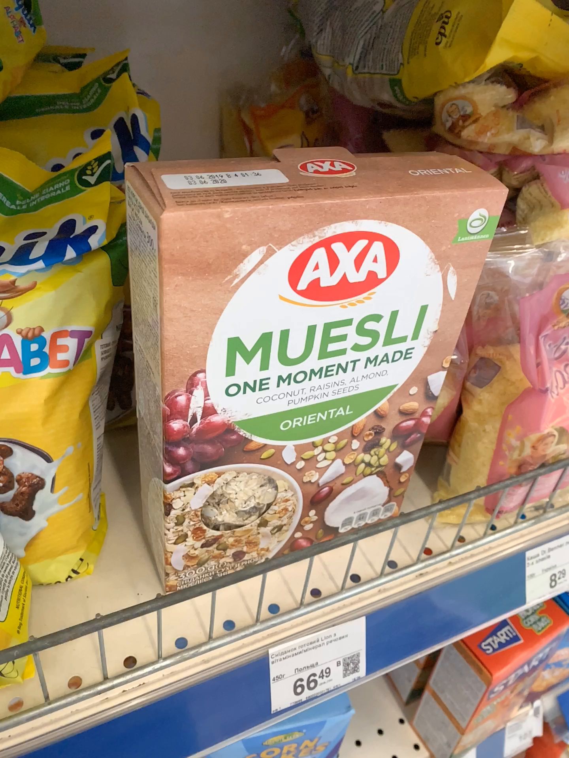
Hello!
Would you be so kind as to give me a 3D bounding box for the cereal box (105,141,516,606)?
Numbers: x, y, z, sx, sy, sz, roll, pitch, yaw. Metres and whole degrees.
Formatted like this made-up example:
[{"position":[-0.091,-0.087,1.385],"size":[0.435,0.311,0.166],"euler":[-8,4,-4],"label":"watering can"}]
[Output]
[{"position":[0.002,0.005,0.290],"size":[0.150,0.218,0.050],"euler":[-11,41,-22],"label":"cereal box"}]
